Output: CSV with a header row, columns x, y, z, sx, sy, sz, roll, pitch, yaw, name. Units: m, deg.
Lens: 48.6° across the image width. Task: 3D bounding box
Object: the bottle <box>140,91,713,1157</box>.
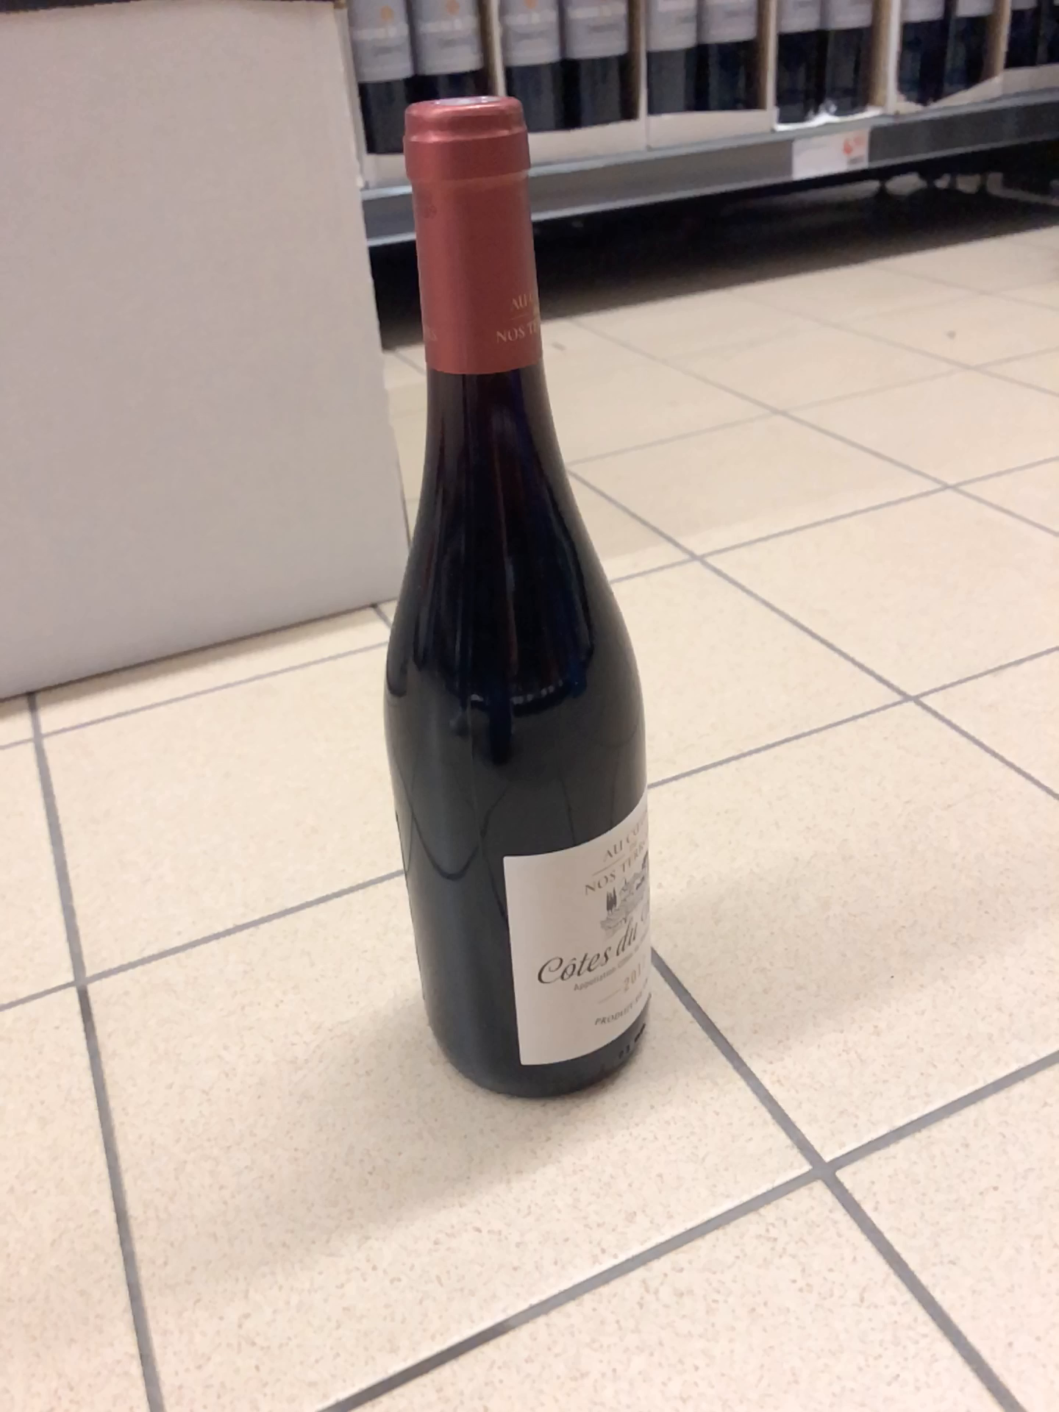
x,y,z,sx,sy,sz,roll,pitch,yaw,name
-0.012,-0.016,0.328,0.090,0.268,0.091,-4,31,2,bottle
